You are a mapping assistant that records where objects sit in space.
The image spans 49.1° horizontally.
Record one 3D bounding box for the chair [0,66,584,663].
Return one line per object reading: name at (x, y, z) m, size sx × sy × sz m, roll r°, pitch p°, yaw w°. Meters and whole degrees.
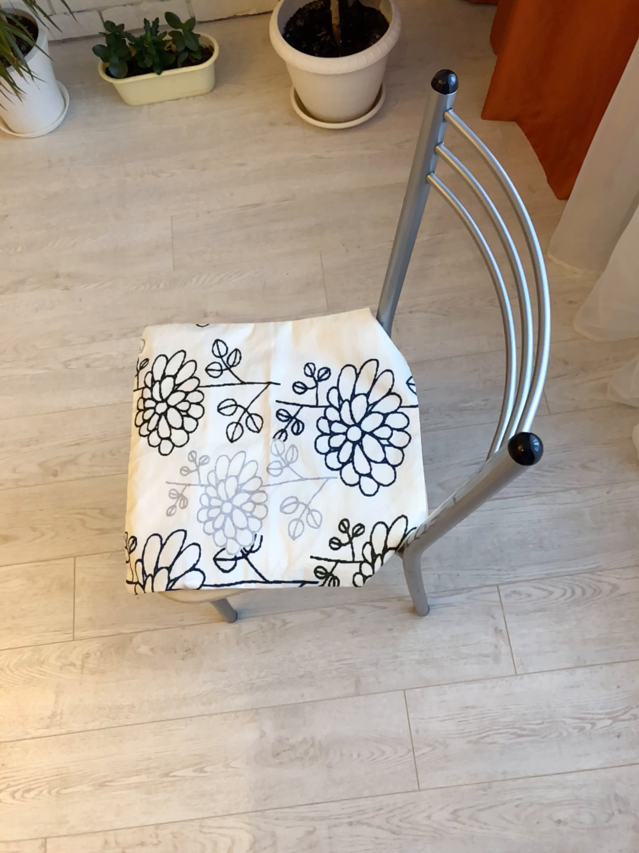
chair at (-0.034, 0.041, 0.933) m, size 0.440 × 0.798 × 0.421 m, roll -7°, pitch 67°, yaw 1°
